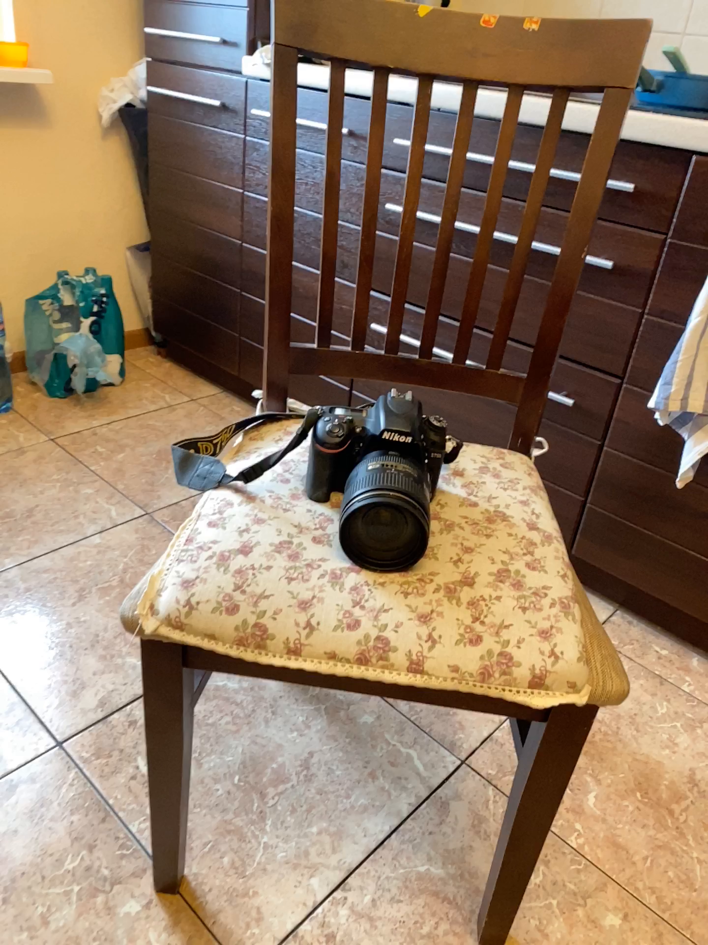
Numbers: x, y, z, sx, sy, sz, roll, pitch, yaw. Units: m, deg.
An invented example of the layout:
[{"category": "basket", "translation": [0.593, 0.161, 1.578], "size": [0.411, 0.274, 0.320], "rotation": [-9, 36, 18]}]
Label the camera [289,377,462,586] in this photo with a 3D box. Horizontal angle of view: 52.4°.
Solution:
[{"category": "camera", "translation": [0.020, 0.002, 0.692], "size": [0.135, 0.119, 0.165], "rotation": [7, 28, 0]}]
